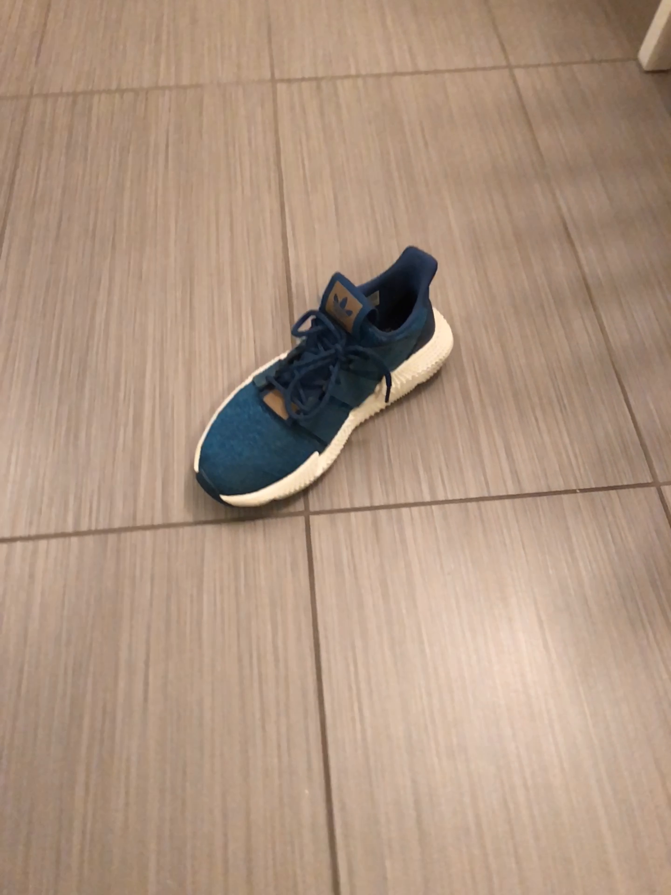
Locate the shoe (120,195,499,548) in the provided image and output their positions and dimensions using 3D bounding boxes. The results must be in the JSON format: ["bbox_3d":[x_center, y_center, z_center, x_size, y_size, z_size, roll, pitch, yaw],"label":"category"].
[{"bbox_3d":[-0.012,-0.069,0.618,0.291,0.119,0.111,-38,65,-21],"label":"shoe"}]
